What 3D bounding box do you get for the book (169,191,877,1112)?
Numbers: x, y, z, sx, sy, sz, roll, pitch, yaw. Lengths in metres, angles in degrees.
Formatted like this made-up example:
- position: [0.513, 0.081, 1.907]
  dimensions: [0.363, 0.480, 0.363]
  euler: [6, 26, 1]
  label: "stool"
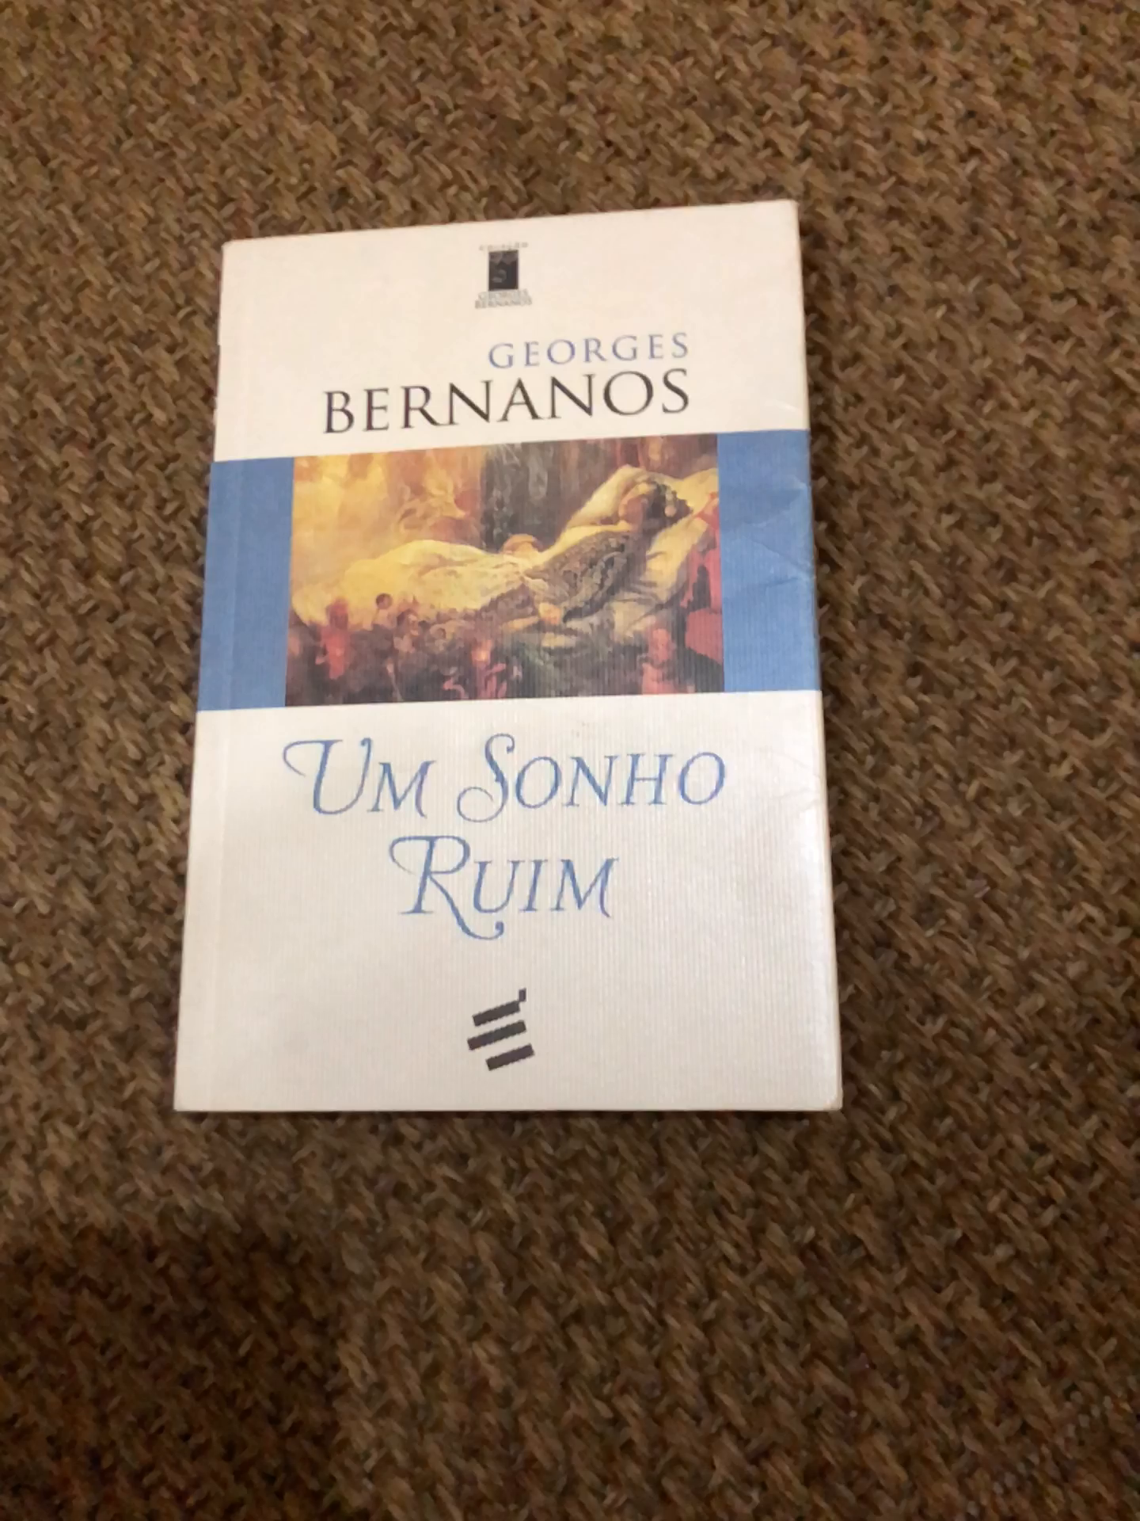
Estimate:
- position: [-0.011, -0.026, 0.280]
  dimensions: [0.140, 0.020, 0.199]
  euler: [-2, 77, 6]
  label: "book"
